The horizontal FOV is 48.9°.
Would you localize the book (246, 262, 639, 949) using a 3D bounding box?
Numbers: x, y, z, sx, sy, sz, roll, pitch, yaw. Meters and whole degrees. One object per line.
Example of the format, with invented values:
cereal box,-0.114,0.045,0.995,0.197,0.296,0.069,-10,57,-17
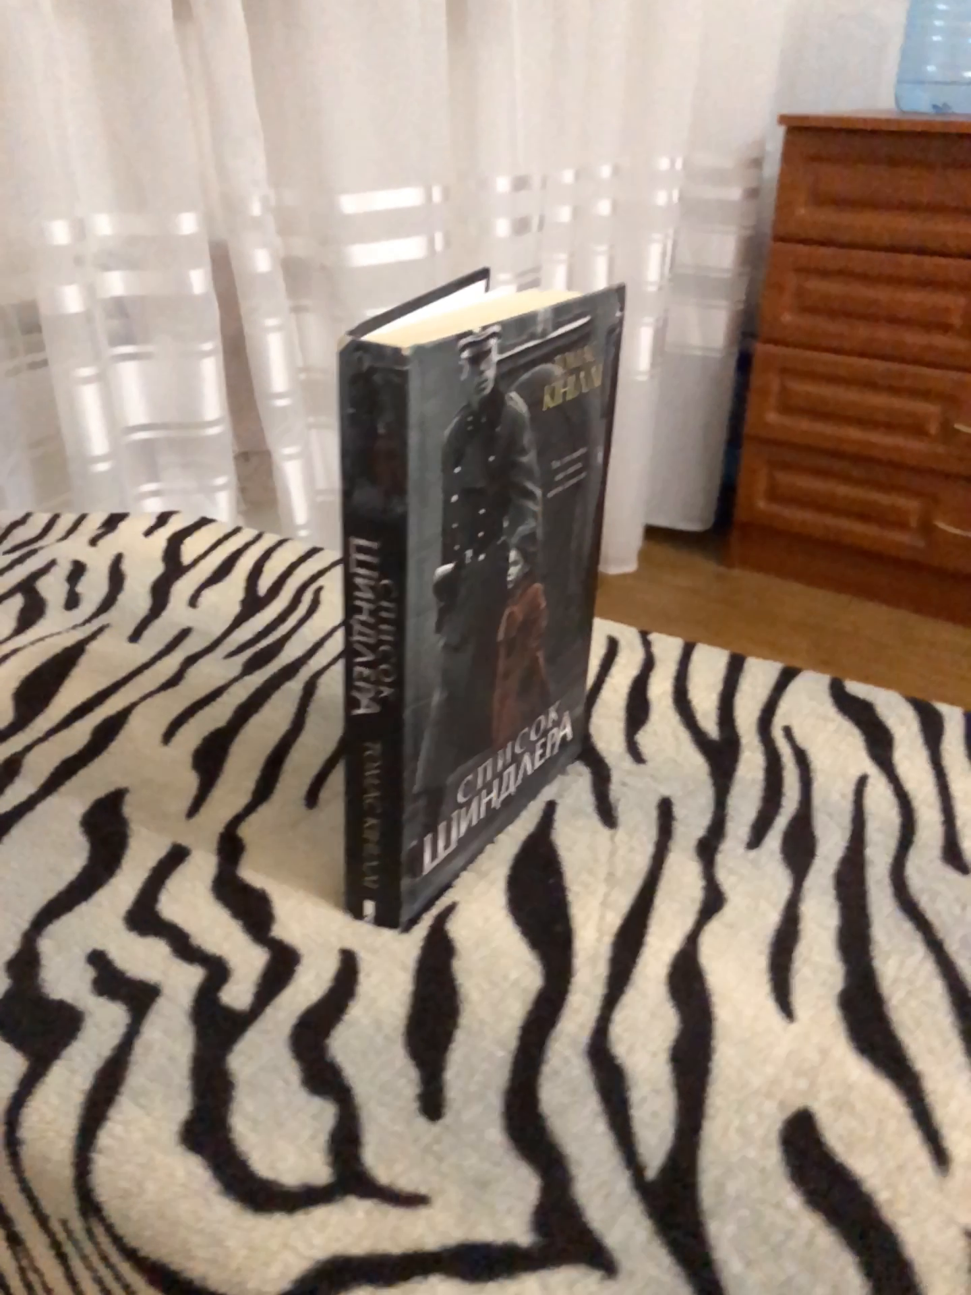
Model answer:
book,-0.008,-0.022,0.374,0.057,0.191,0.145,15,31,24
